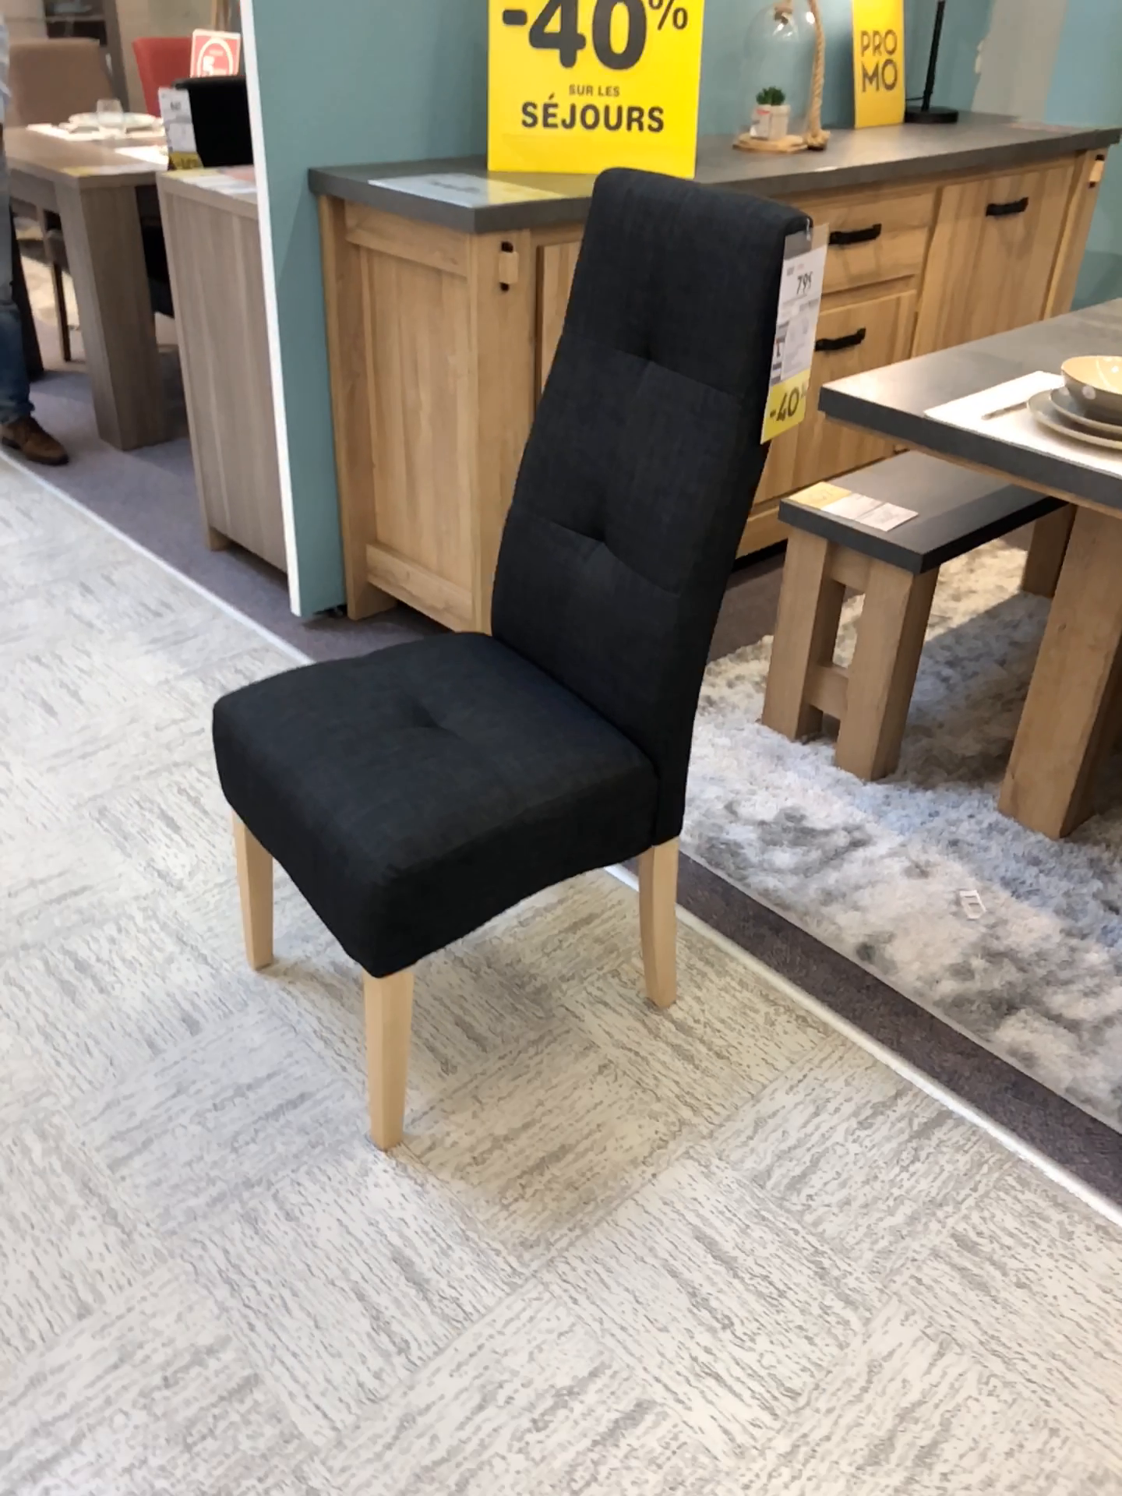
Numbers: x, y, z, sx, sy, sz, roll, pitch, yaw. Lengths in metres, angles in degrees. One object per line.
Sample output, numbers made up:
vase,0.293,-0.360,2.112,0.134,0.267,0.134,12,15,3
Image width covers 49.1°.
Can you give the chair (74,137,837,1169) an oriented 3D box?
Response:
chair,-0.124,-0.131,1.515,0.603,1.043,0.481,-20,39,-31
